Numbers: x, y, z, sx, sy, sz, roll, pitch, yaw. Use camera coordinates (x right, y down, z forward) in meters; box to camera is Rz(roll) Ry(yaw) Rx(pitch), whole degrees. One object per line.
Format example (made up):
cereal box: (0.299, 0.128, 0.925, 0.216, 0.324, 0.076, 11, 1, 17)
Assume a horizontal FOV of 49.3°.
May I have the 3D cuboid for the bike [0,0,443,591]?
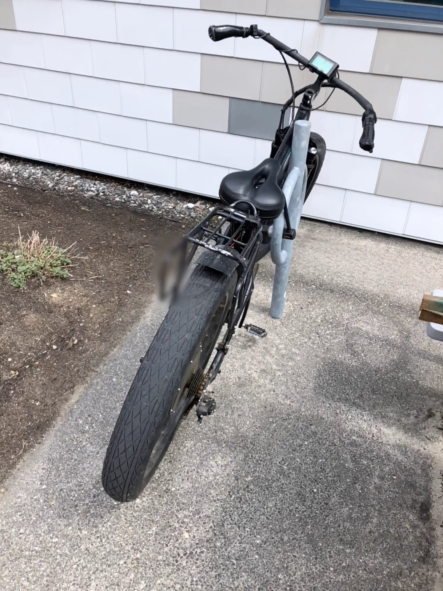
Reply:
bike: (0.249, -0.329, 1.879, 0.877, 1.170, 2.125, 15, 39, 16)
